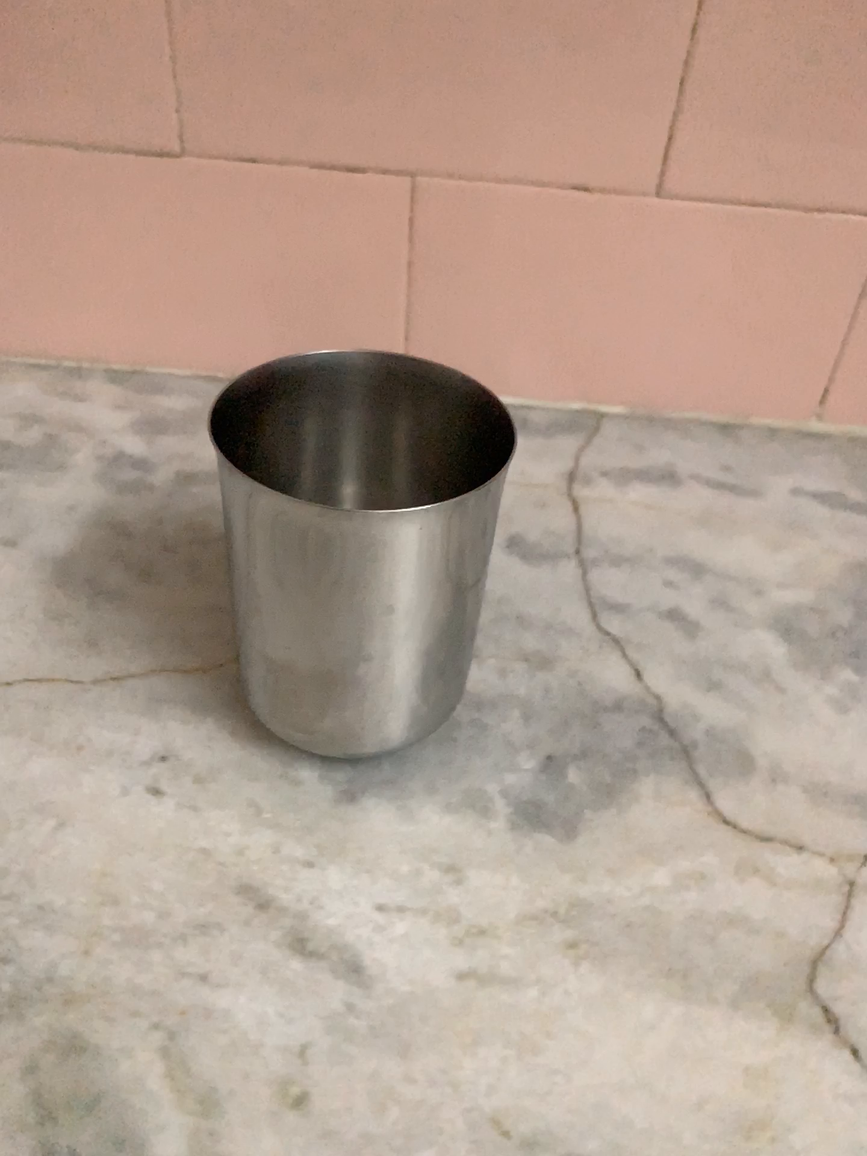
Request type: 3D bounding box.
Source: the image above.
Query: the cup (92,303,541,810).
[{"bbox_3d":[-0.025,-0.008,0.242,0.080,0.090,0.080,3,39,-2],"label":"cup"}]
